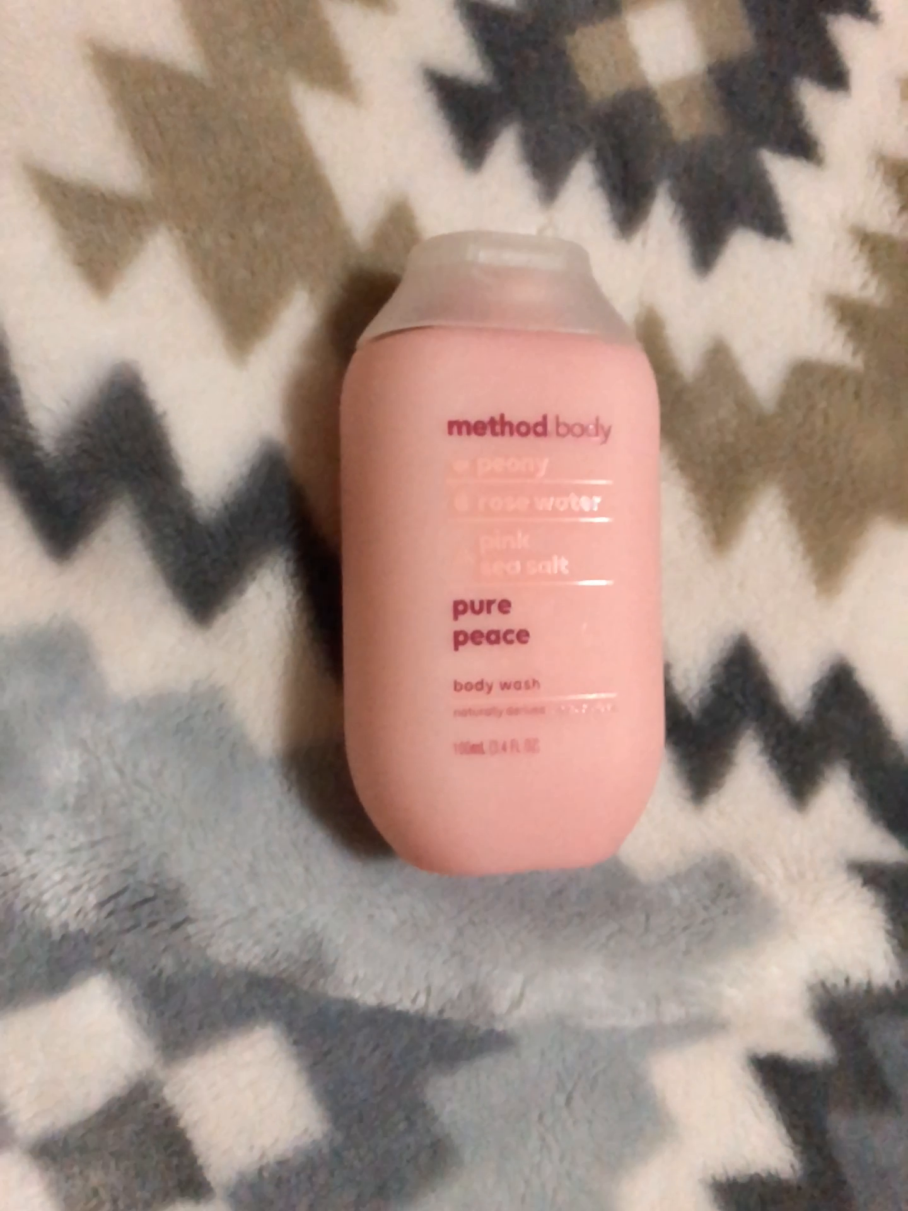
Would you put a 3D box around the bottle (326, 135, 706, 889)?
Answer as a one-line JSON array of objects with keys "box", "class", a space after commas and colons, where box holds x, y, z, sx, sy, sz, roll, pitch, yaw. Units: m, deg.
[{"box": [0.009, -0.013, 0.172, 0.057, 0.030, 0.110, 0, 90, -15], "class": "bottle"}]
